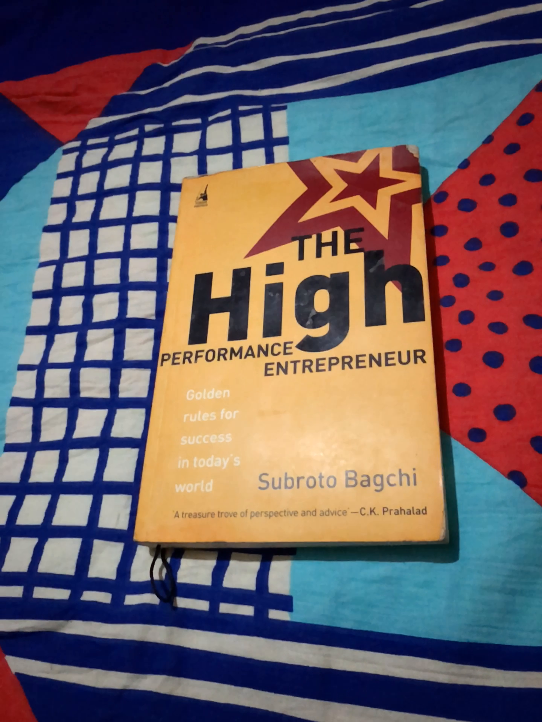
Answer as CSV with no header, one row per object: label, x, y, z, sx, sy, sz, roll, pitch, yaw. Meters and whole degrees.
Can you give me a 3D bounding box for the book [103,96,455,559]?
book,0.007,-0.024,0.305,0.140,0.040,0.230,-6,61,15
